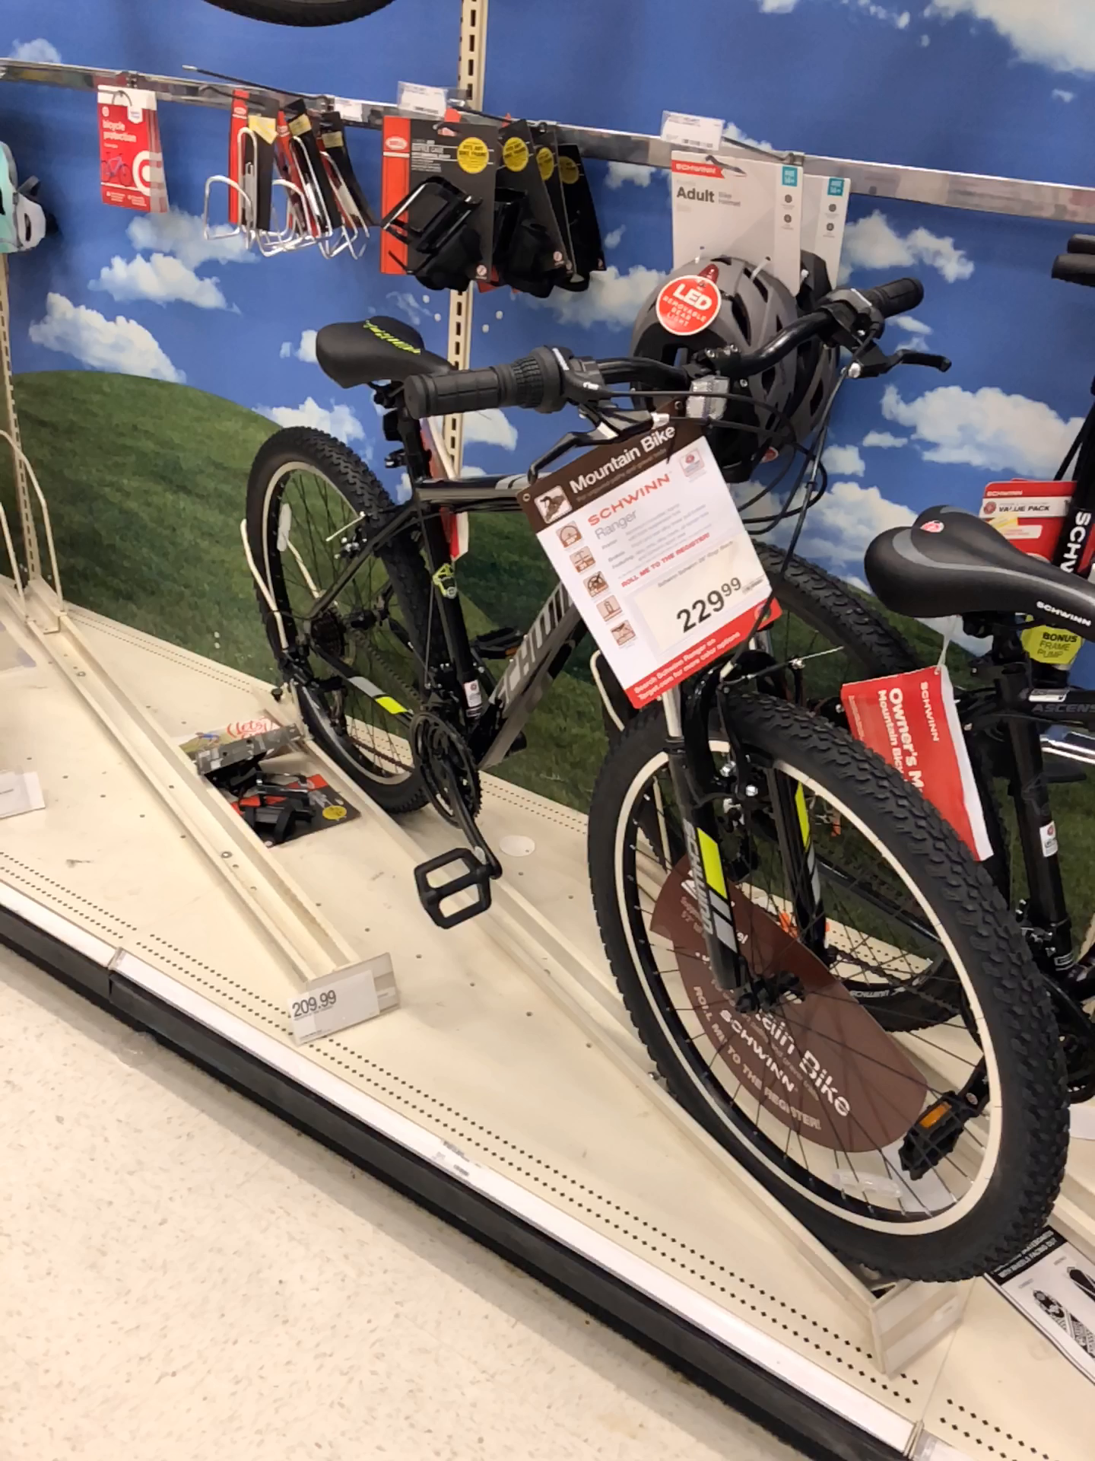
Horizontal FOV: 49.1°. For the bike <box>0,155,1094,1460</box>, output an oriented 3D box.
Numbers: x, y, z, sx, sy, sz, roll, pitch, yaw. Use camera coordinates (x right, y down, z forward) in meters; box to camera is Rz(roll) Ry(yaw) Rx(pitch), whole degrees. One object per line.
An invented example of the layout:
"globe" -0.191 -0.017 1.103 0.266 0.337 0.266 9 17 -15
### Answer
"bike" -0.123 -0.031 1.498 0.599 1.002 1.658 -14 35 -32
